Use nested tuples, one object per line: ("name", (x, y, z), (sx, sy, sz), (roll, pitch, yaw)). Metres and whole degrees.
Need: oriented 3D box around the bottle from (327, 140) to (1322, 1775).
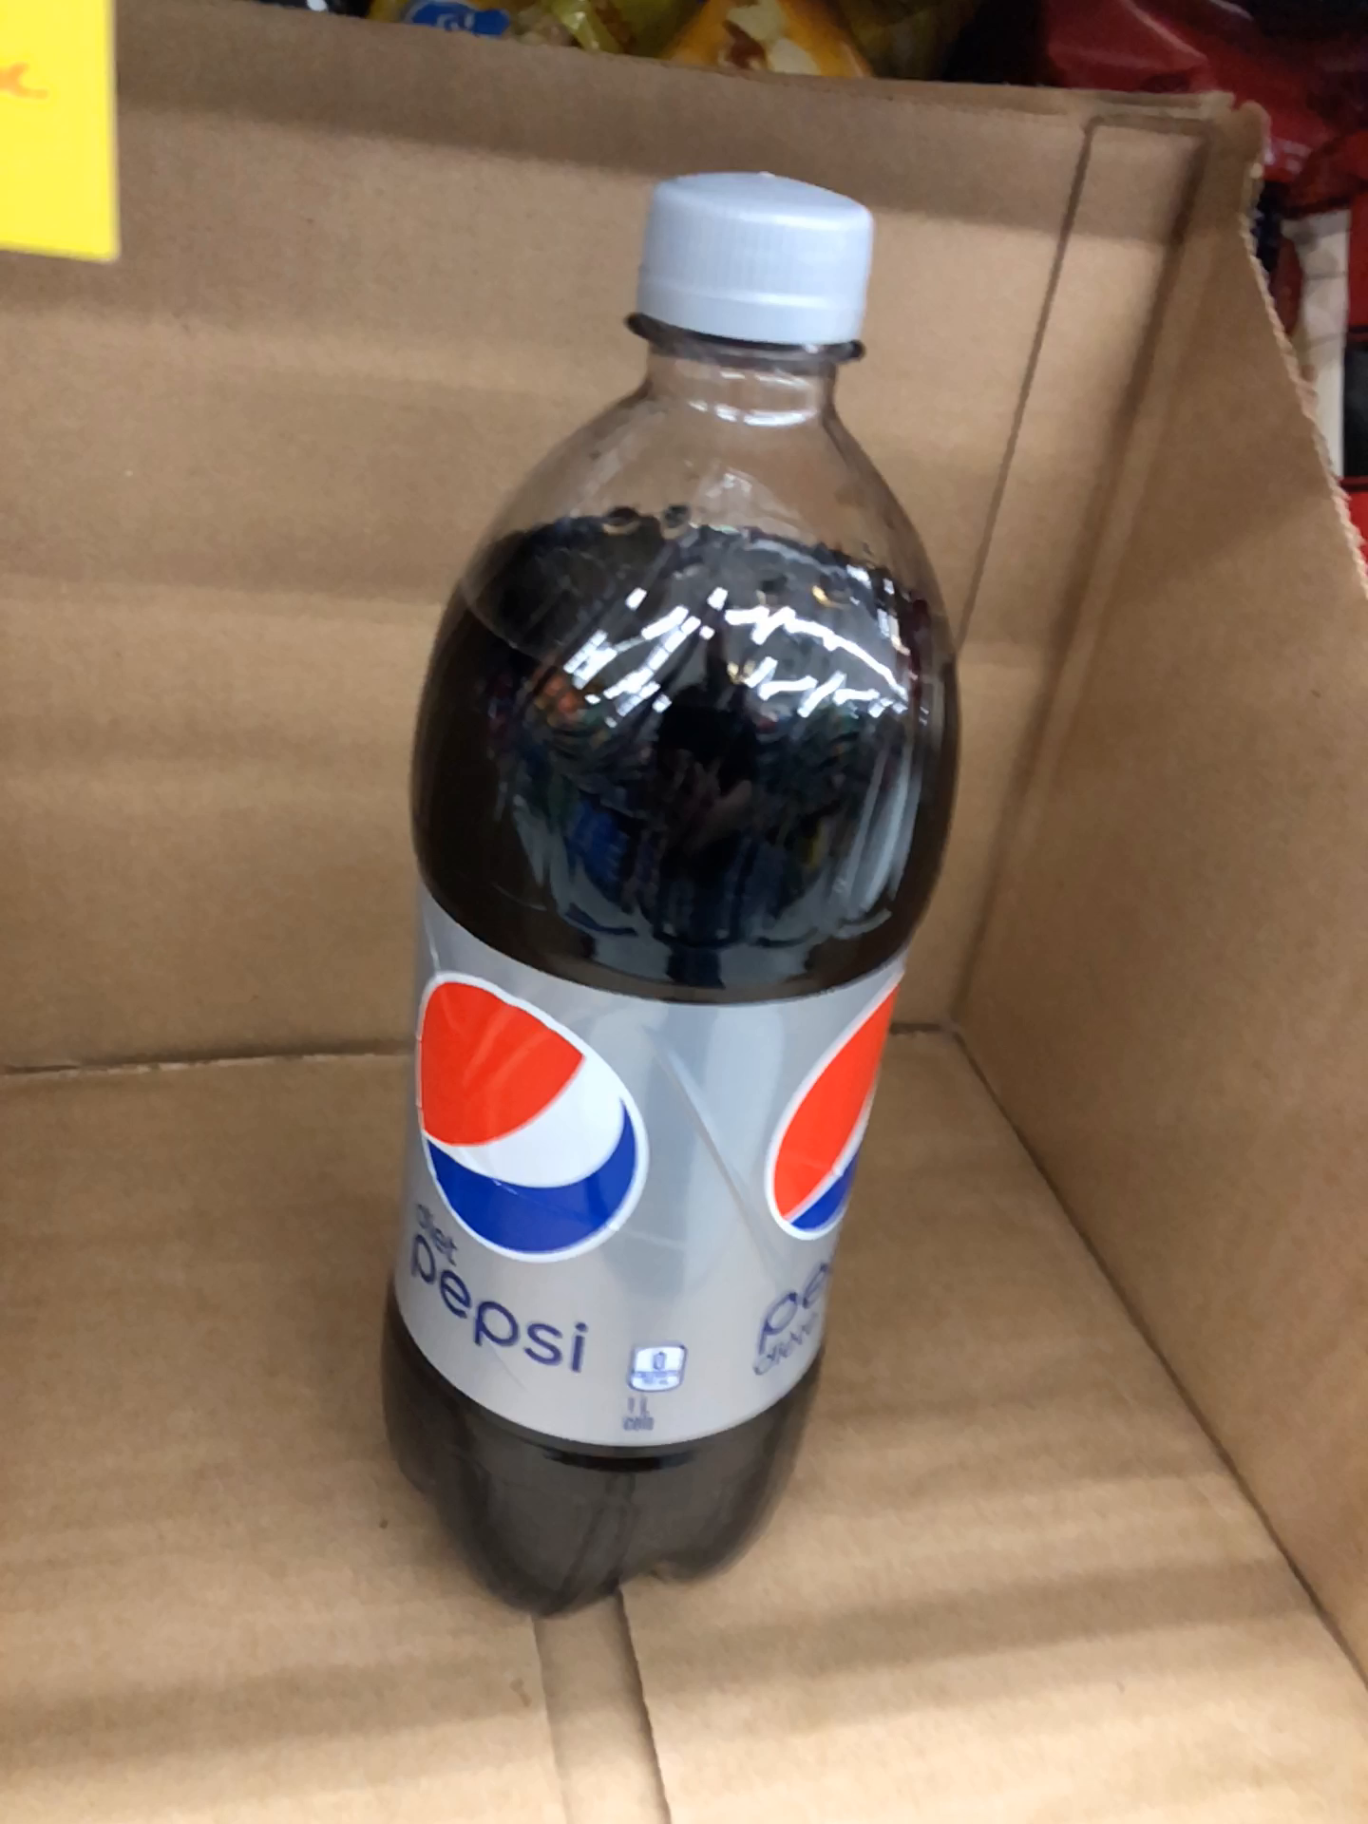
("bottle", (0.006, 0.013, 0.238), (0.080, 0.228, 0.090), (28, 38, 27))
